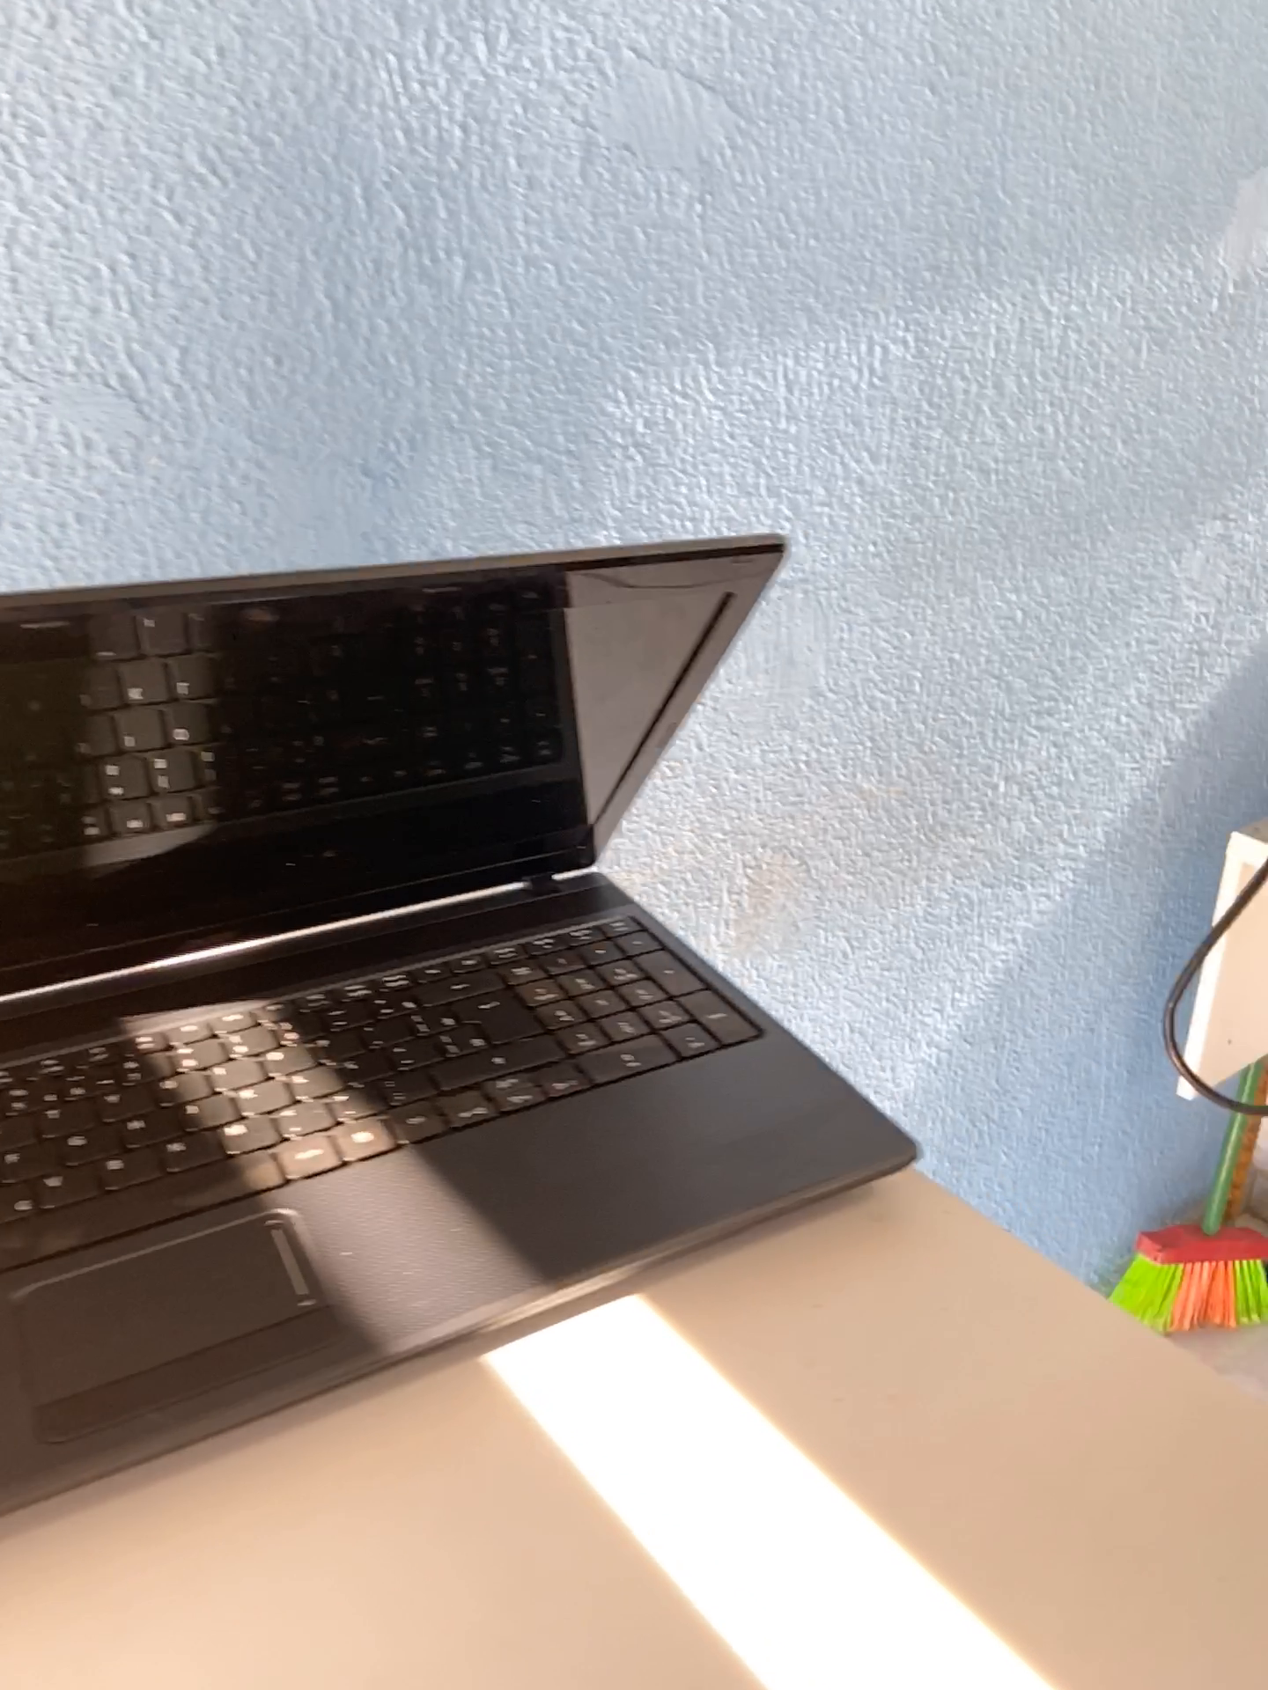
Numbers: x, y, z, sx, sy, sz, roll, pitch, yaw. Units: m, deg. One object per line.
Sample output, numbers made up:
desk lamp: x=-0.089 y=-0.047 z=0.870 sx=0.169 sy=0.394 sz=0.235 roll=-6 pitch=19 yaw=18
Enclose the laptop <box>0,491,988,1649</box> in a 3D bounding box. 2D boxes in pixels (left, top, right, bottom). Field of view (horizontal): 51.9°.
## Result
laptop: x=-0.122 y=0.010 z=0.434 sx=0.376 sy=0.191 sz=0.248 roll=-12 pitch=26 yaw=-27
